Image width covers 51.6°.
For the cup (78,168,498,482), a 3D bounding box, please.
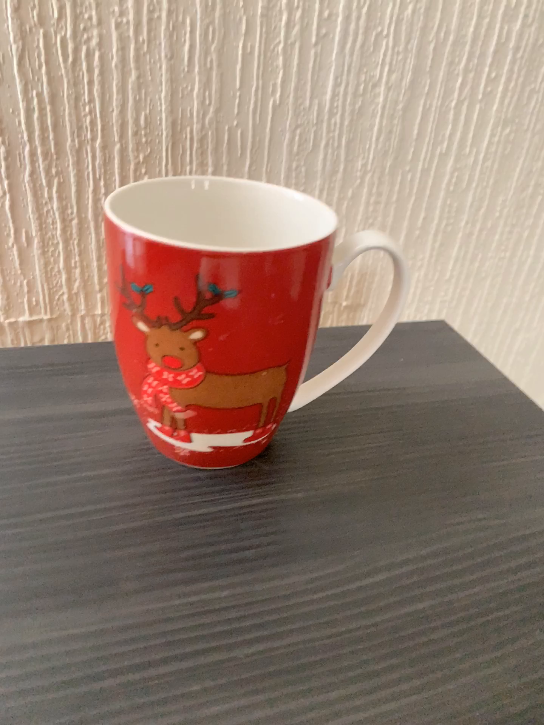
[{"bbox_3d":[-0.002,-0.018,0.231,0.130,0.089,0.091,1,33,-10],"label":"cup"}]
